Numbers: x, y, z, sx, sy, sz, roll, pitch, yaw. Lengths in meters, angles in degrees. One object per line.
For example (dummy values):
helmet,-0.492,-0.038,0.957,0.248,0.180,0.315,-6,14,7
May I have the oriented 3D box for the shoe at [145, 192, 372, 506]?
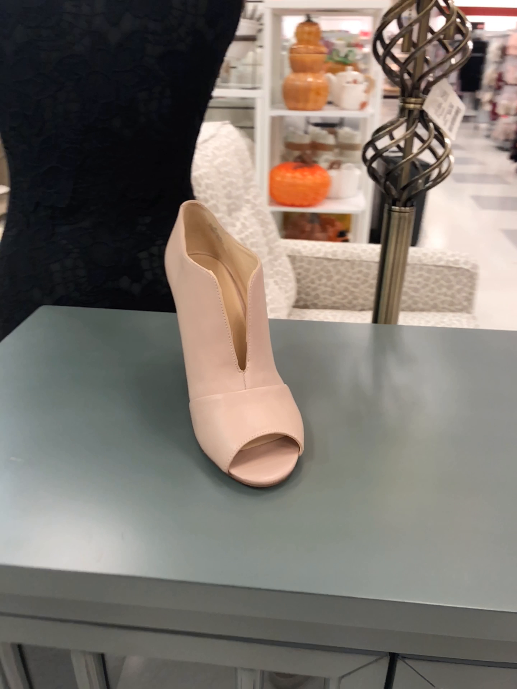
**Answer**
shoe,-0.017,-0.017,0.450,0.097,0.151,0.225,-9,28,-17
